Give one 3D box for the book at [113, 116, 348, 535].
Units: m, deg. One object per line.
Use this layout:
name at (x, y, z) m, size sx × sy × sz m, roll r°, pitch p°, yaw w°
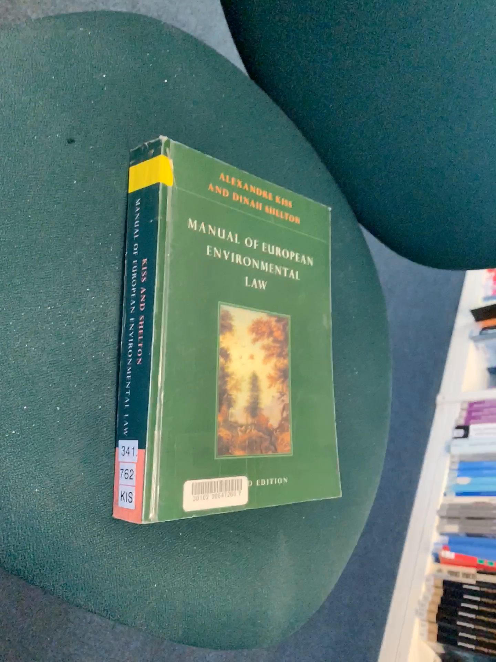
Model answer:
book at (0.000, 0.000, 0.377) m, size 0.181 × 0.040 × 0.250 m, roll 9°, pitch 78°, yaw -42°
